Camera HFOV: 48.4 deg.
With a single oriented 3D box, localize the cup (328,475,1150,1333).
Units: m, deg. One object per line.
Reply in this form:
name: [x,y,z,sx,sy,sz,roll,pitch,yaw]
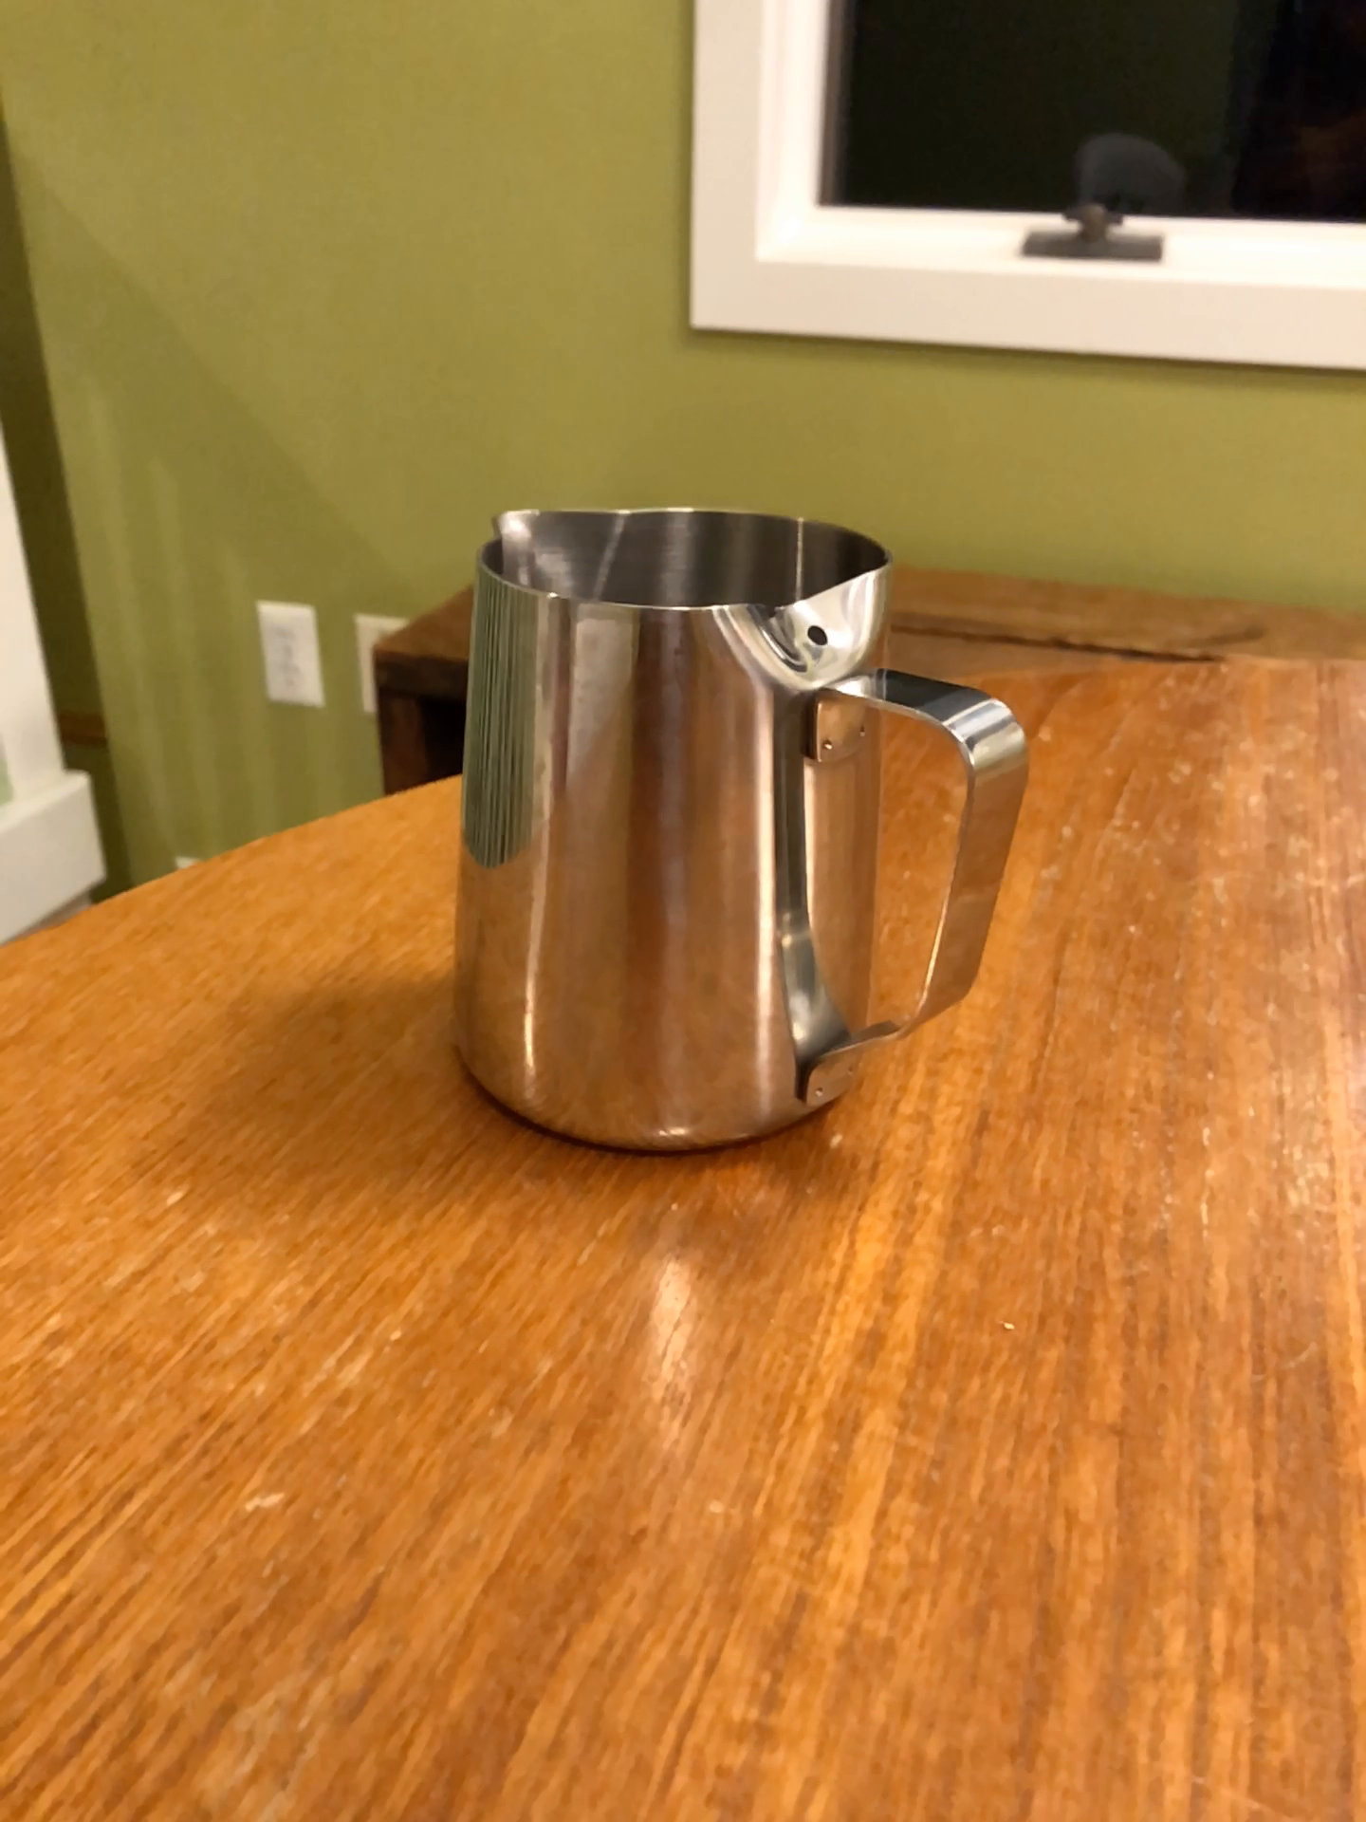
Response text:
cup: [0.004,-0.014,0.308,0.083,0.114,0.136,-21,34,-37]
